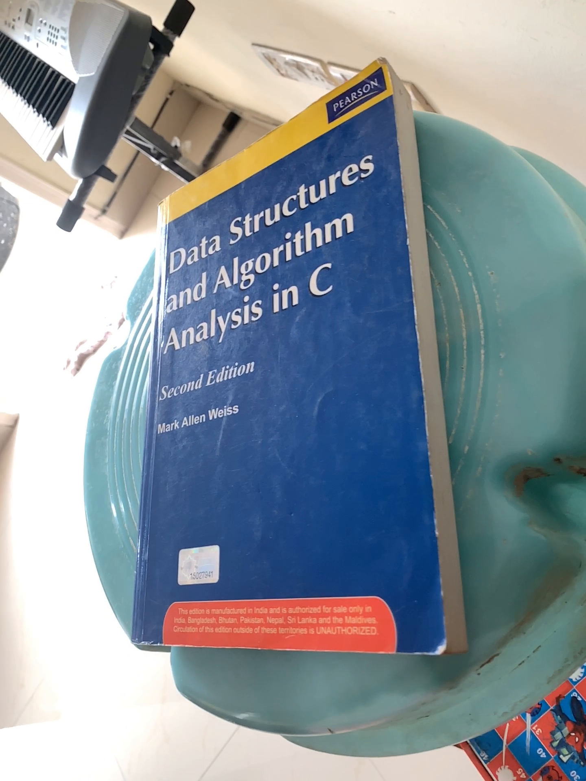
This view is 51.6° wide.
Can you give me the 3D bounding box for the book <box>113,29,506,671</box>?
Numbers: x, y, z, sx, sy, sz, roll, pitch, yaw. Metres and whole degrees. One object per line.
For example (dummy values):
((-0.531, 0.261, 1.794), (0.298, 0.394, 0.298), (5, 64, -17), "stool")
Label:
((-0.009, -0.014, 0.266), (0.161, 0.030, 0.241), (-17, 65, 36), "book")
